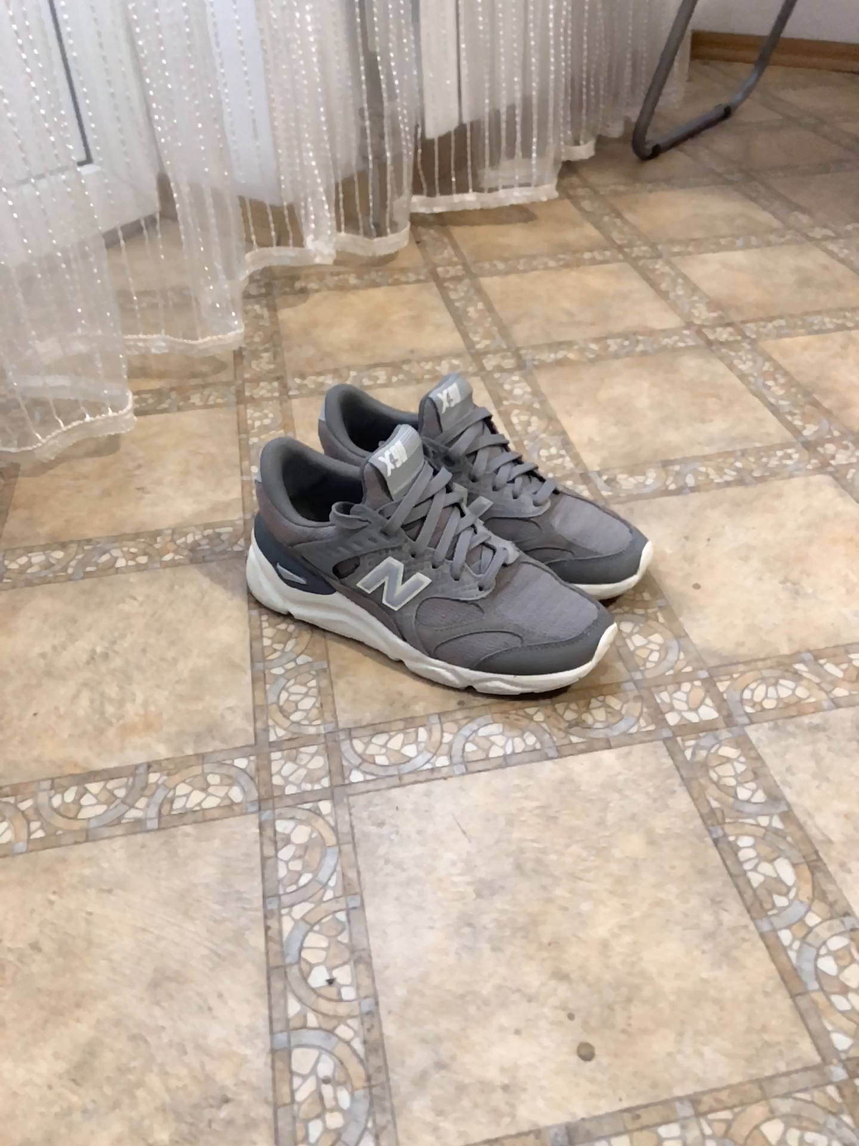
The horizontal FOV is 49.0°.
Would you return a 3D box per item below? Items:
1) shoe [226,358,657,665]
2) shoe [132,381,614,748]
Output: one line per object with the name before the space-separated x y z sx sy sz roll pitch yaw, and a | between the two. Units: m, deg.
shoe | 0.006 -0.051 0.661 0.270 0.119 0.101 17 42 23
shoe | -0.037 -0.016 0.584 0.270 0.119 0.101 19 43 25
